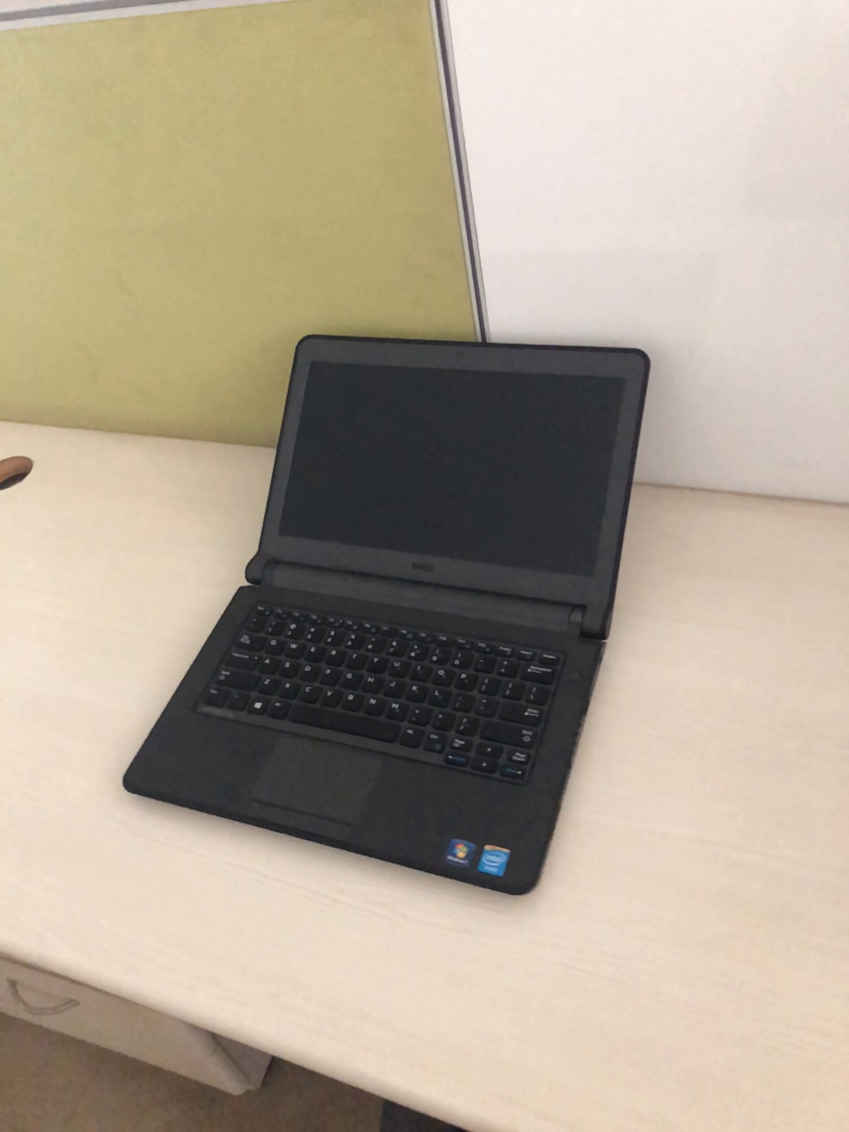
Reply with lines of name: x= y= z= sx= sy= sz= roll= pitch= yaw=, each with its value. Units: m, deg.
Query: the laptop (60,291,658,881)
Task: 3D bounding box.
laptop: x=-0.018 y=-0.027 z=0.720 sx=0.317 sy=0.122 sz=0.417 roll=8 pitch=53 yaw=21
